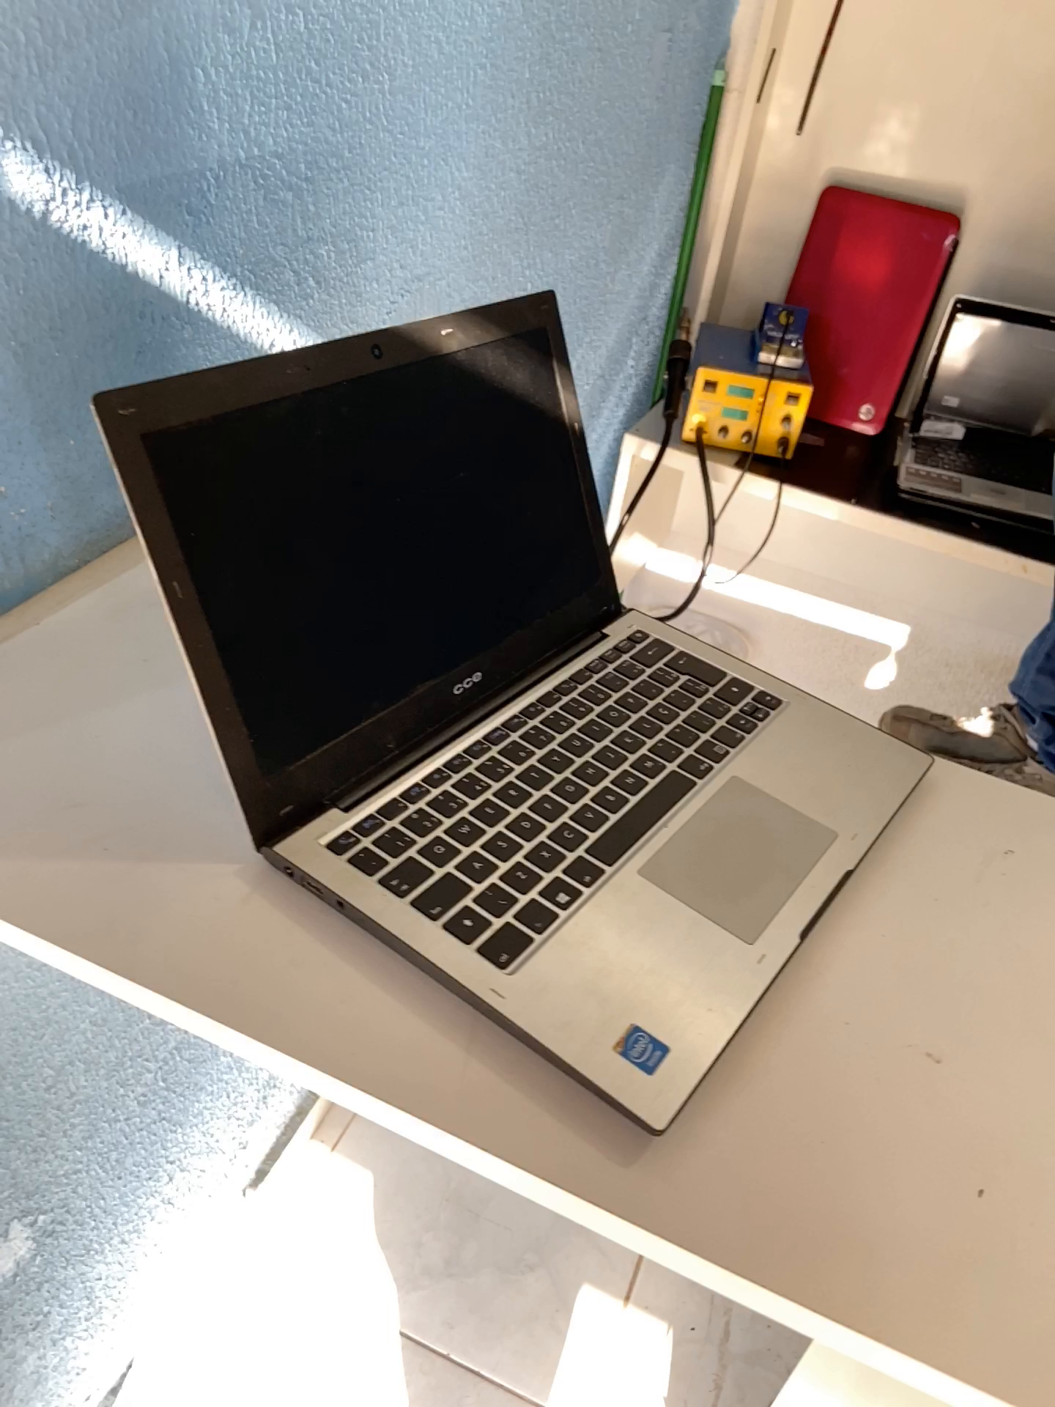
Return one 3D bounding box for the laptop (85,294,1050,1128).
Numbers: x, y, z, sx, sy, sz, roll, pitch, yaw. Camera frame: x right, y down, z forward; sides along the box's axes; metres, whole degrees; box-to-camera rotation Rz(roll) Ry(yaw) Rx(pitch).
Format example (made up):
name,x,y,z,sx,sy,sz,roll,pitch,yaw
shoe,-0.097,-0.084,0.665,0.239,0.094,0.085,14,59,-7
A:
name,x,y,z,sx,sy,sz,roll,pitch,yaw
laptop,0.027,-0.044,0.524,0.303,0.181,0.314,29,39,25
